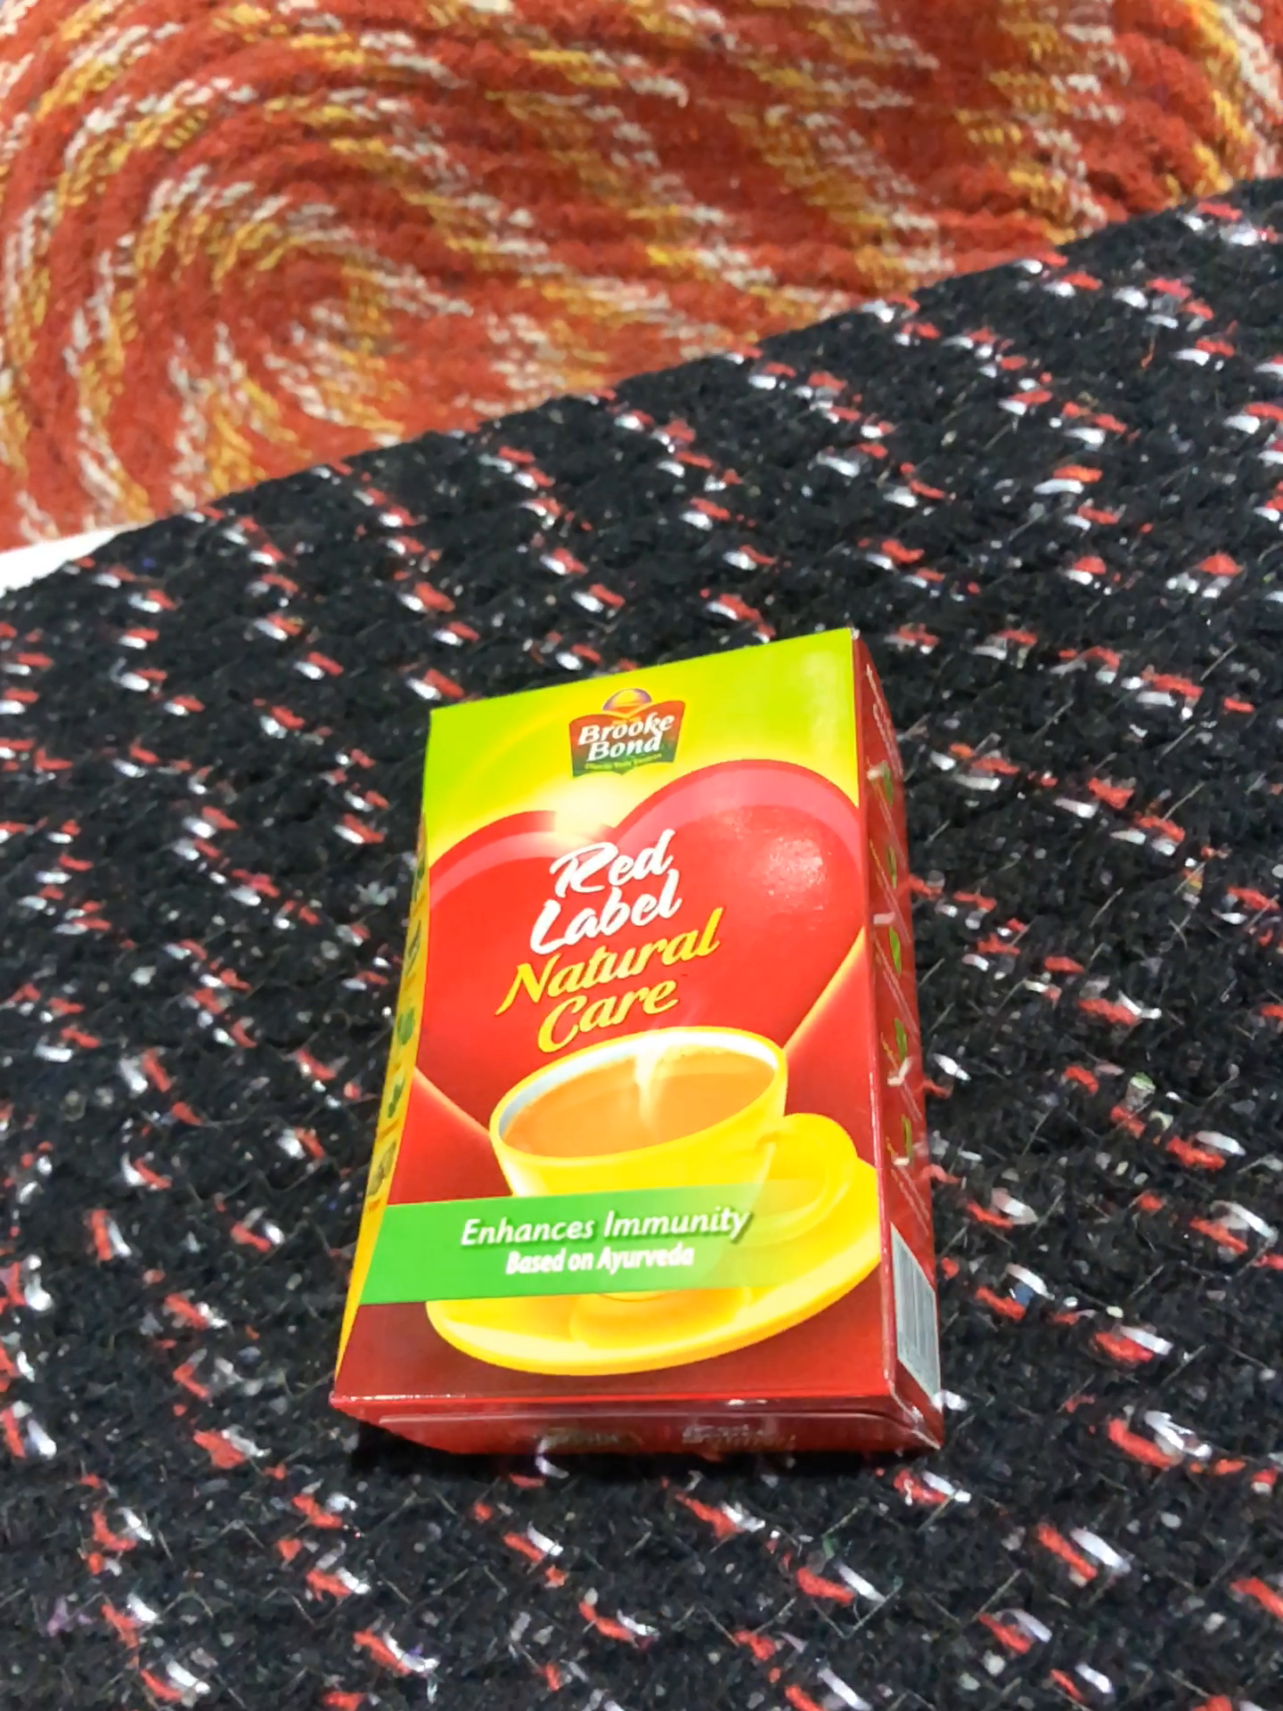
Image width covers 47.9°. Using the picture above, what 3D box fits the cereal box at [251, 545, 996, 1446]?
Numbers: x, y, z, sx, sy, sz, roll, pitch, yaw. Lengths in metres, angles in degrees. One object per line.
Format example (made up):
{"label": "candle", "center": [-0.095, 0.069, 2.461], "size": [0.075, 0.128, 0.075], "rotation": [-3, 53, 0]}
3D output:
{"label": "cereal box", "center": [0.001, 0.019, 0.198], "size": [0.080, 0.040, 0.110], "rotation": [-7, 59, 15]}
